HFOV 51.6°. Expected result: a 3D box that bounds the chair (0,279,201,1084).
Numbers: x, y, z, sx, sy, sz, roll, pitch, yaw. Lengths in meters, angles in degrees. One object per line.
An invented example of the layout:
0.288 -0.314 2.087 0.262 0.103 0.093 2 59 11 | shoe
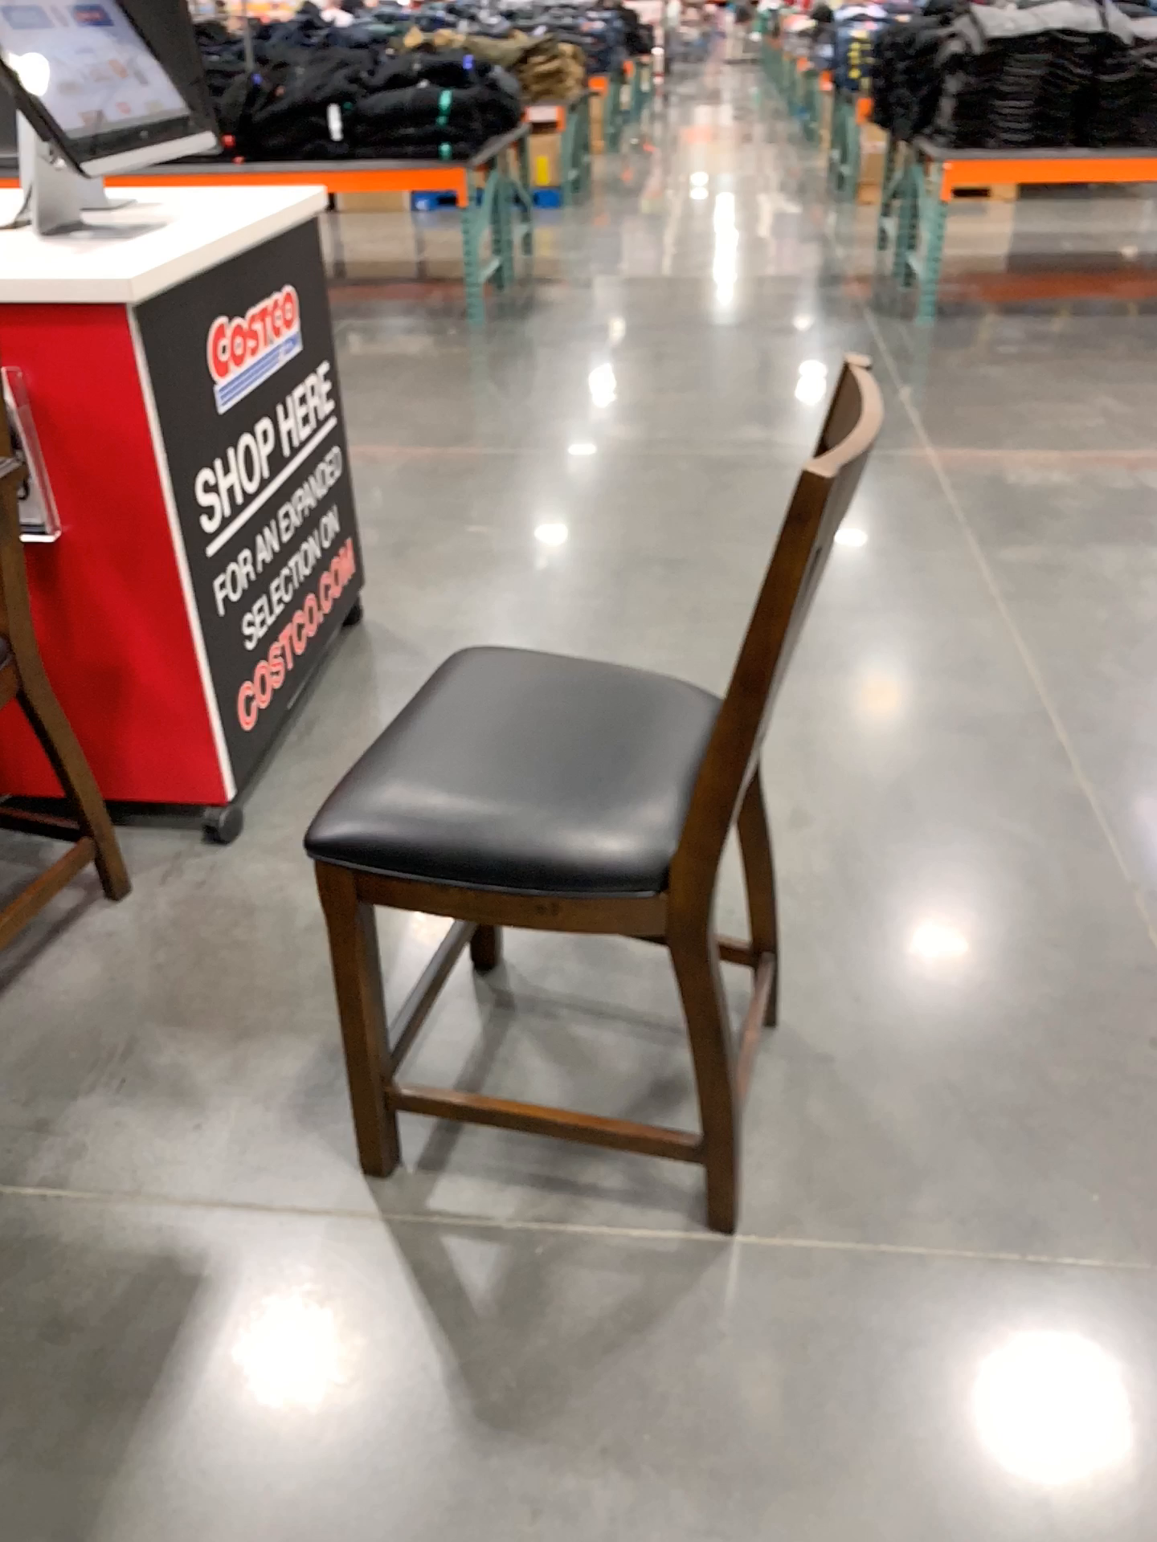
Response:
-1.094 -0.155 1.775 0.655 0.952 0.600 8 33 14 | chair

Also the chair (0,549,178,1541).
-0.721 0.490 0.779 0.545 1.022 0.589 -20 37 -28 | chair

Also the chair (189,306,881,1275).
0.008 0.022 1.494 0.587 1.022 0.527 7 33 12 | chair
